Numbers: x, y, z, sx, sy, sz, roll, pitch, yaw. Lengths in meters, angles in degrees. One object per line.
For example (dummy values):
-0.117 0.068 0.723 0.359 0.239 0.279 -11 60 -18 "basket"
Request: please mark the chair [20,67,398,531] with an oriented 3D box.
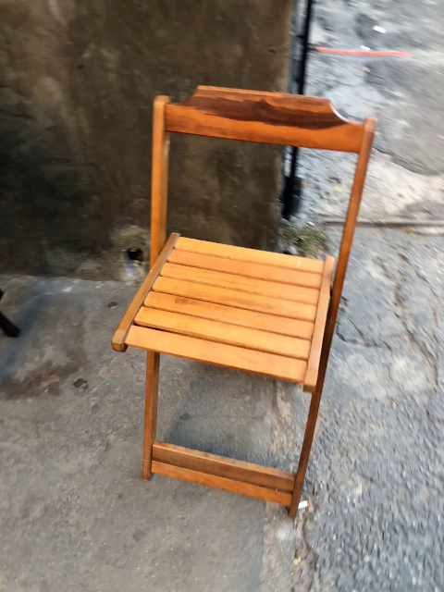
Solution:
0.030 0.048 1.069 0.480 0.854 0.503 9 46 10 "chair"
